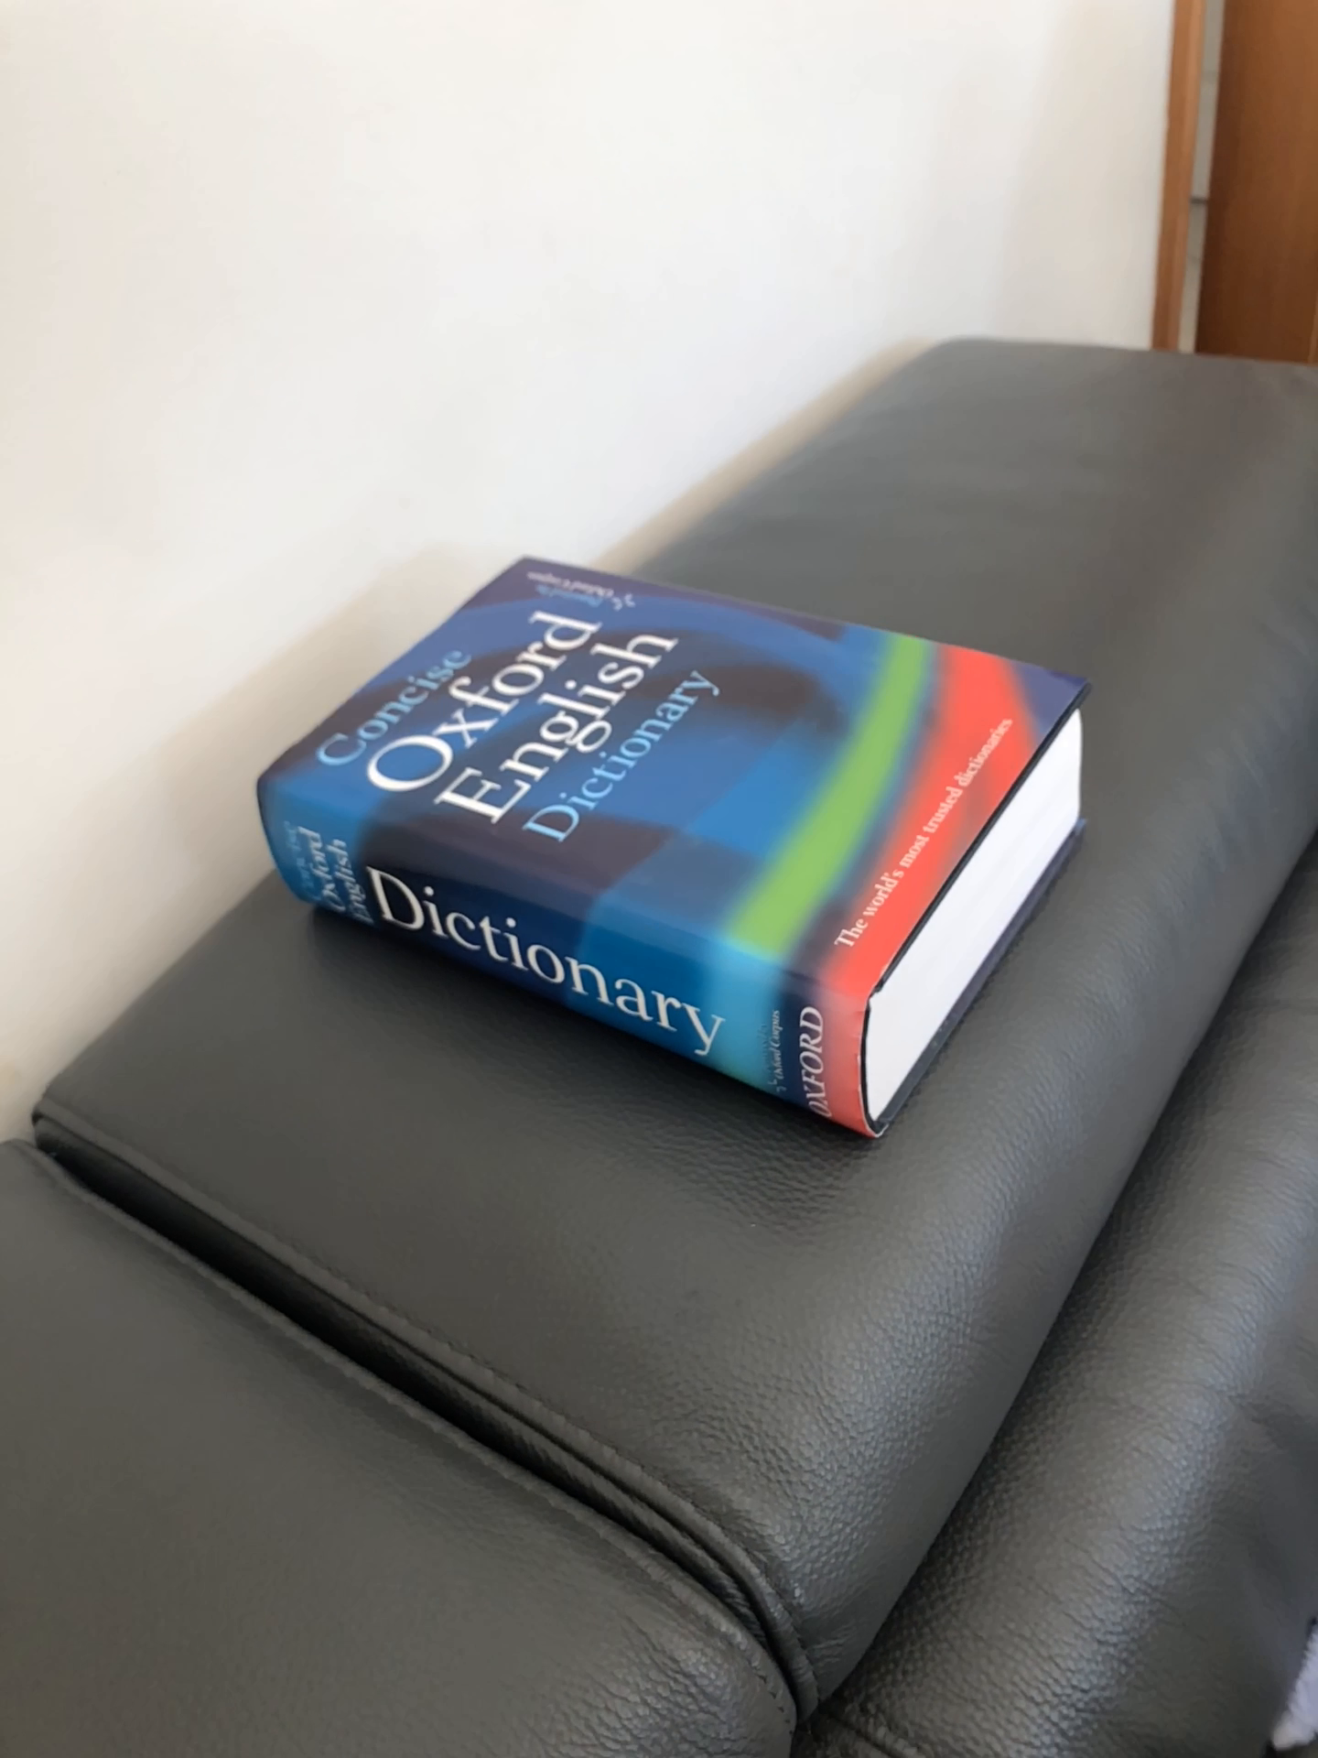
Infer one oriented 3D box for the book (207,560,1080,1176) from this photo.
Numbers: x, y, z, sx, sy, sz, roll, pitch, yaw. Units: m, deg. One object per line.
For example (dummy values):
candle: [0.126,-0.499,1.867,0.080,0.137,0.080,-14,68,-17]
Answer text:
book: [-0.003,-0.023,0.522,0.250,0.070,0.171,17,48,29]
